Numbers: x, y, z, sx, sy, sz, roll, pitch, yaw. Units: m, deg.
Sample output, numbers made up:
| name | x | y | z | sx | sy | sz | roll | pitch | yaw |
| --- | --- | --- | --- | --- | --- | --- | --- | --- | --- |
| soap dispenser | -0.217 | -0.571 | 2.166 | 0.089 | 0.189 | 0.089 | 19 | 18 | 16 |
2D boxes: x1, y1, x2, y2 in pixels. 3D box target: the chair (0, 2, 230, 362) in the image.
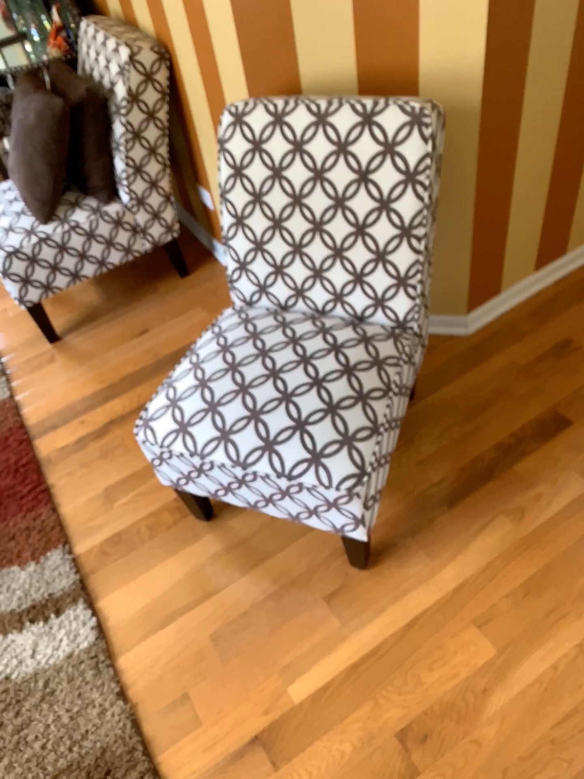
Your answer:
| name | x | y | z | sx | sy | sz | roll | pitch | yaw |
| --- | --- | --- | --- | --- | --- | --- | --- | --- | --- |
| chair | -0.796 | -0.738 | 2.141 | 0.797 | 0.834 | 0.595 | -29 | 47 | -15 |

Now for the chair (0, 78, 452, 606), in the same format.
| name | x | y | z | sx | sy | sz | roll | pitch | yaw |
| --- | --- | --- | --- | --- | --- | --- | --- | --- | --- |
| chair | -0.055 | -0.132 | 1.342 | 0.622 | 0.775 | 0.740 | 12 | 50 | 24 |
